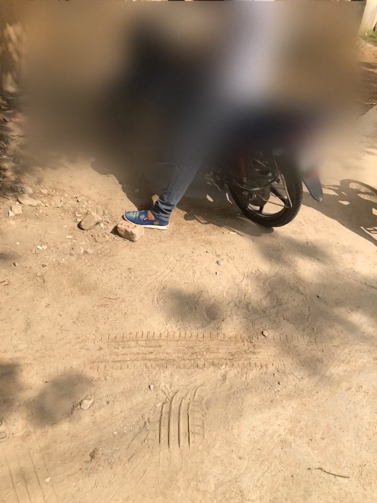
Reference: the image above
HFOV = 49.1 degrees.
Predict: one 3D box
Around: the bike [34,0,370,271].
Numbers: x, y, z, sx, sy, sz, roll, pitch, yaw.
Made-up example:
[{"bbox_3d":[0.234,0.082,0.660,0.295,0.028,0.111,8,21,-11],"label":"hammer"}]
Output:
[{"bbox_3d":[-0.065,-0.966,2.601,1.785,1.241,0.743,34,44,32],"label":"bike"}]
